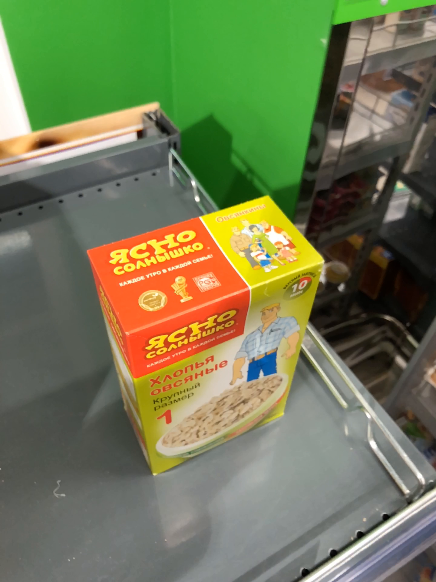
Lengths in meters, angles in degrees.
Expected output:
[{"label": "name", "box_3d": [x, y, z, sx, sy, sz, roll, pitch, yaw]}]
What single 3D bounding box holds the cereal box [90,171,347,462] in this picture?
[{"label": "cereal box", "box_3d": [-0.003, 0.026, 0.354, 0.130, 0.179, 0.080, -20, 53, -18]}]
